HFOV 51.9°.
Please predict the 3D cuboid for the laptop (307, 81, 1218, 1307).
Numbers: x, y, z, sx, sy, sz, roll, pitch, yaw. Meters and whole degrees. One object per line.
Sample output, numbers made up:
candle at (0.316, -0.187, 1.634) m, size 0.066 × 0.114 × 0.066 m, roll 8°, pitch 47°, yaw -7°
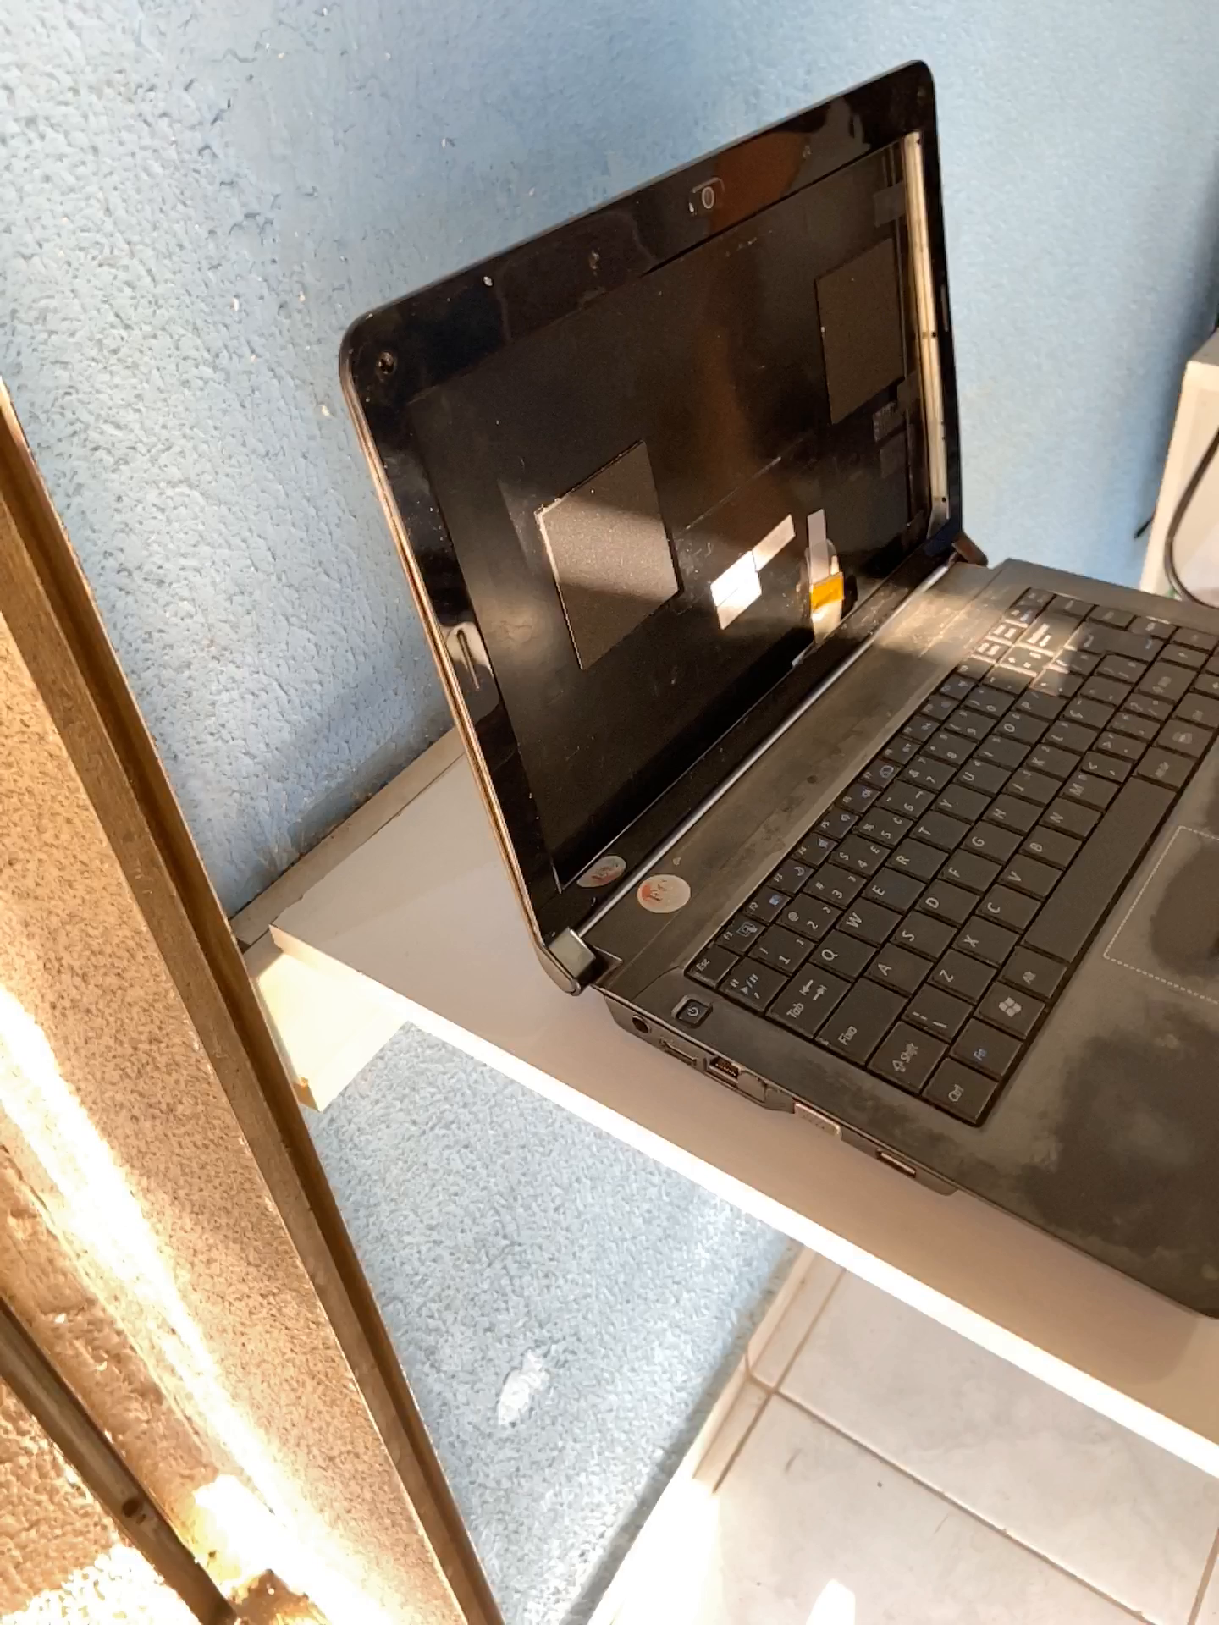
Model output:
laptop at (0.143, -0.088, 0.433) m, size 0.276 × 0.216 × 0.336 m, roll 23°, pitch 47°, yaw 29°
